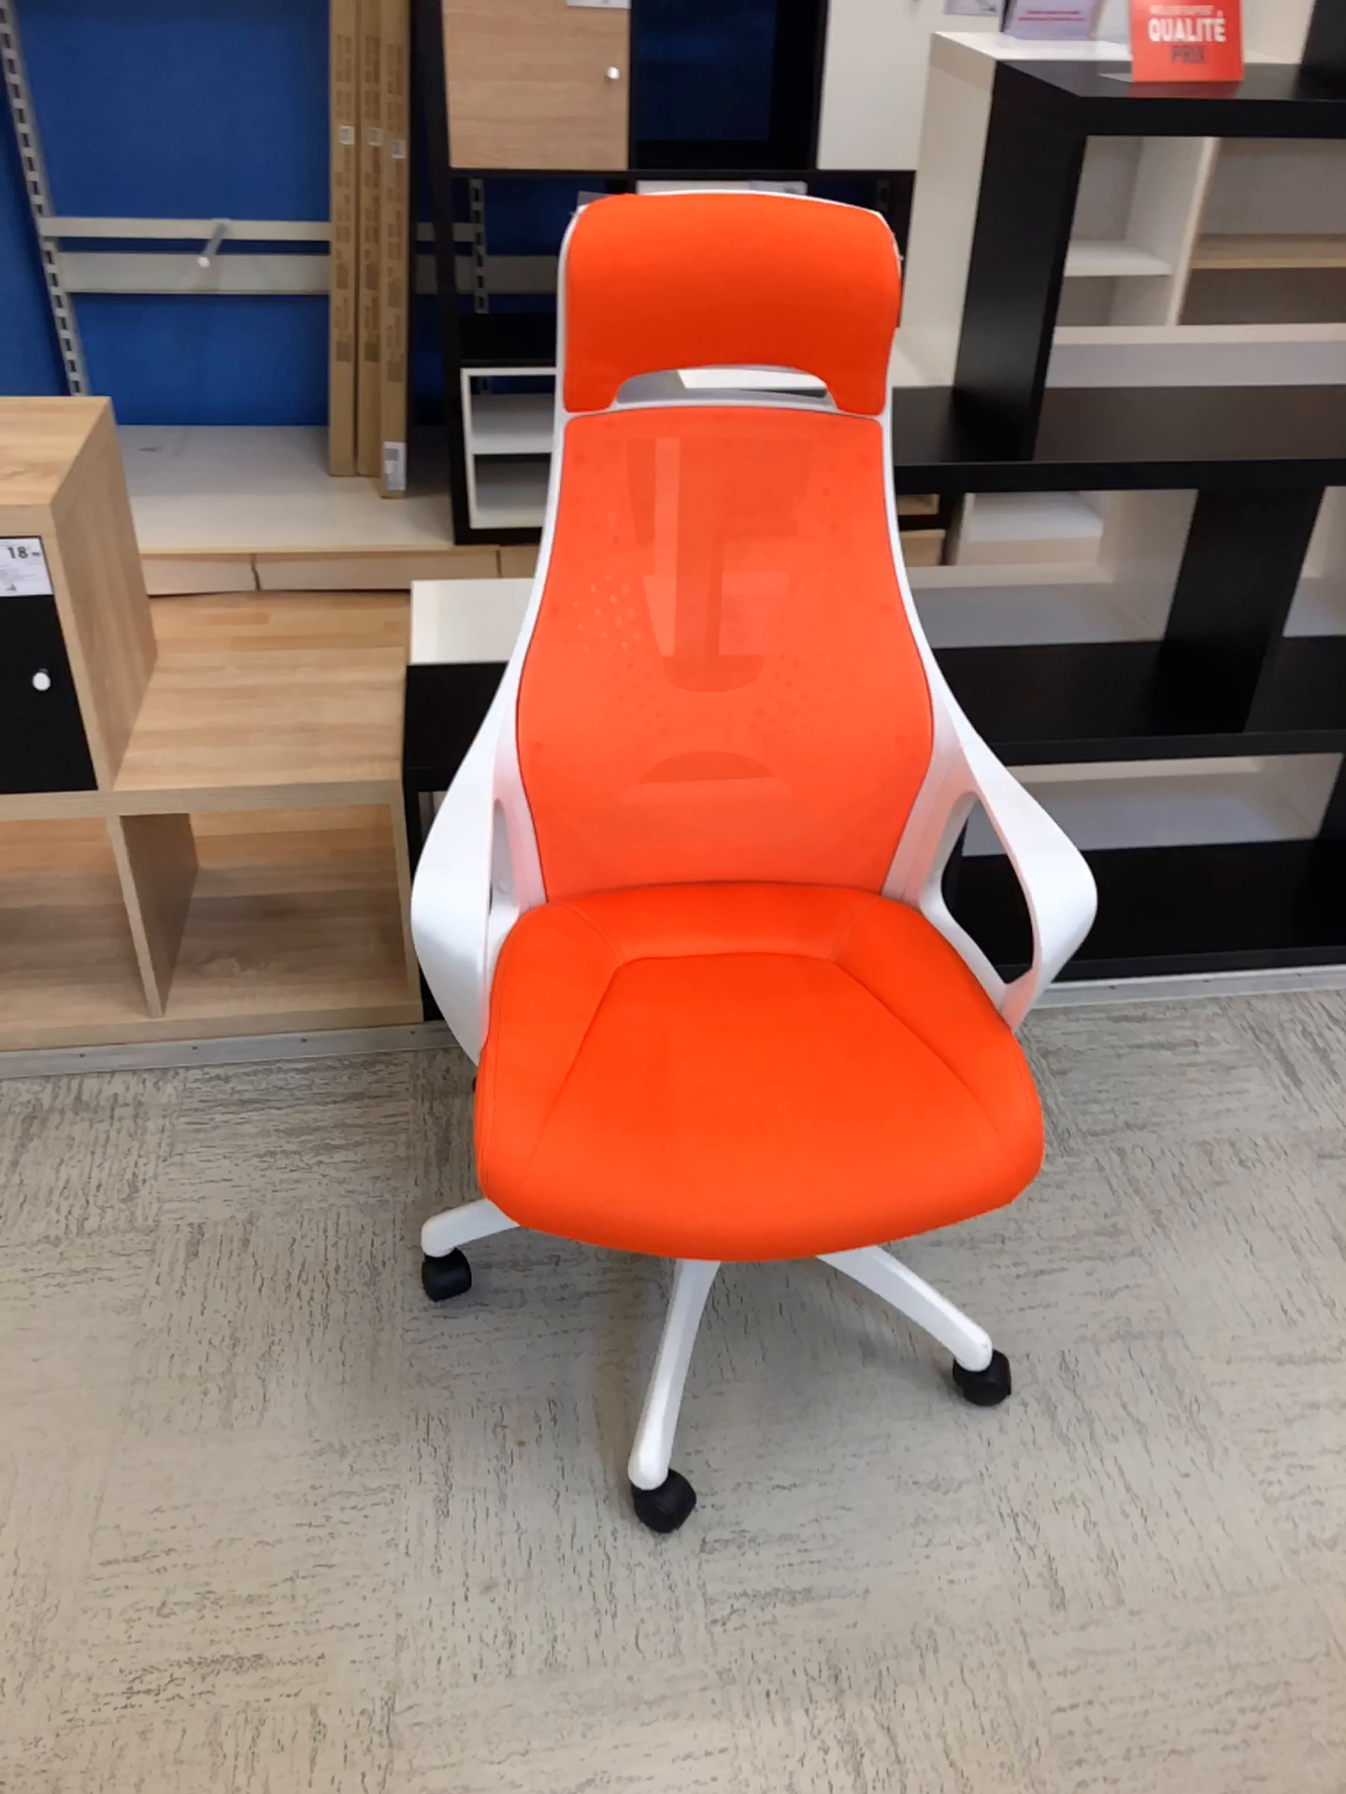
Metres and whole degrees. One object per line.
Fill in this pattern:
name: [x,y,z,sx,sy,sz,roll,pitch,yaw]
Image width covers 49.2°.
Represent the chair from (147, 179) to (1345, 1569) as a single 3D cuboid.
chair: [0.025,-0.033,1.399,0.680,1.053,0.754,-1,35,-4]
